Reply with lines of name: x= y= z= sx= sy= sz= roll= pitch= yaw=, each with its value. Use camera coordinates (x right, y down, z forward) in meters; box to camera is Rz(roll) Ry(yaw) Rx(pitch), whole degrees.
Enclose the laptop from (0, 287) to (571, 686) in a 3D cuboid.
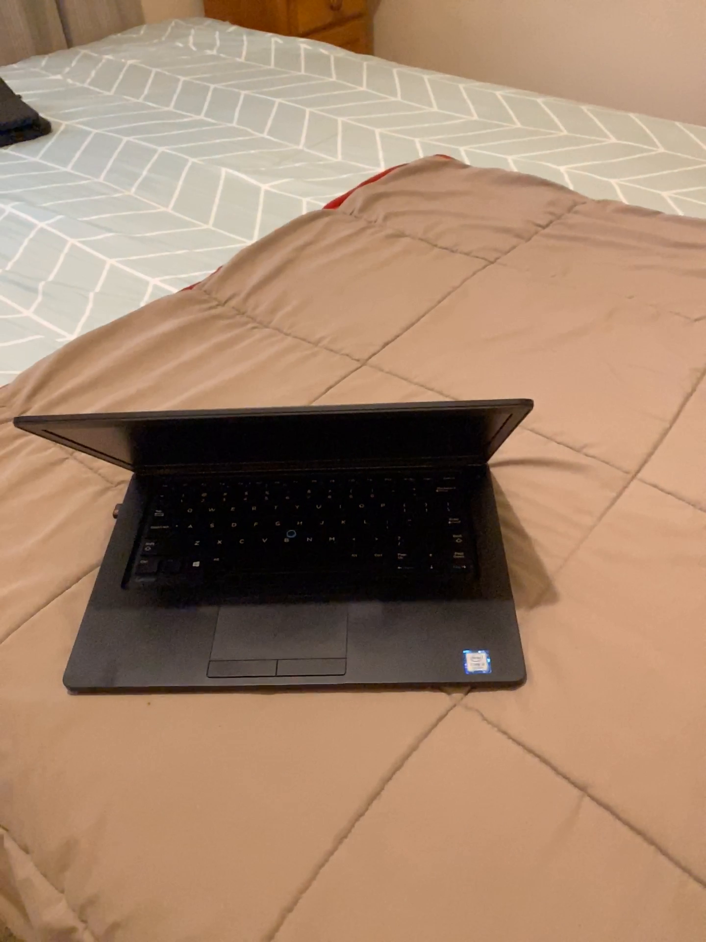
laptop: x=-0.046 y=0.009 z=0.538 sx=0.334 sy=0.183 sz=0.227 roll=-2 pitch=43 yaw=3
